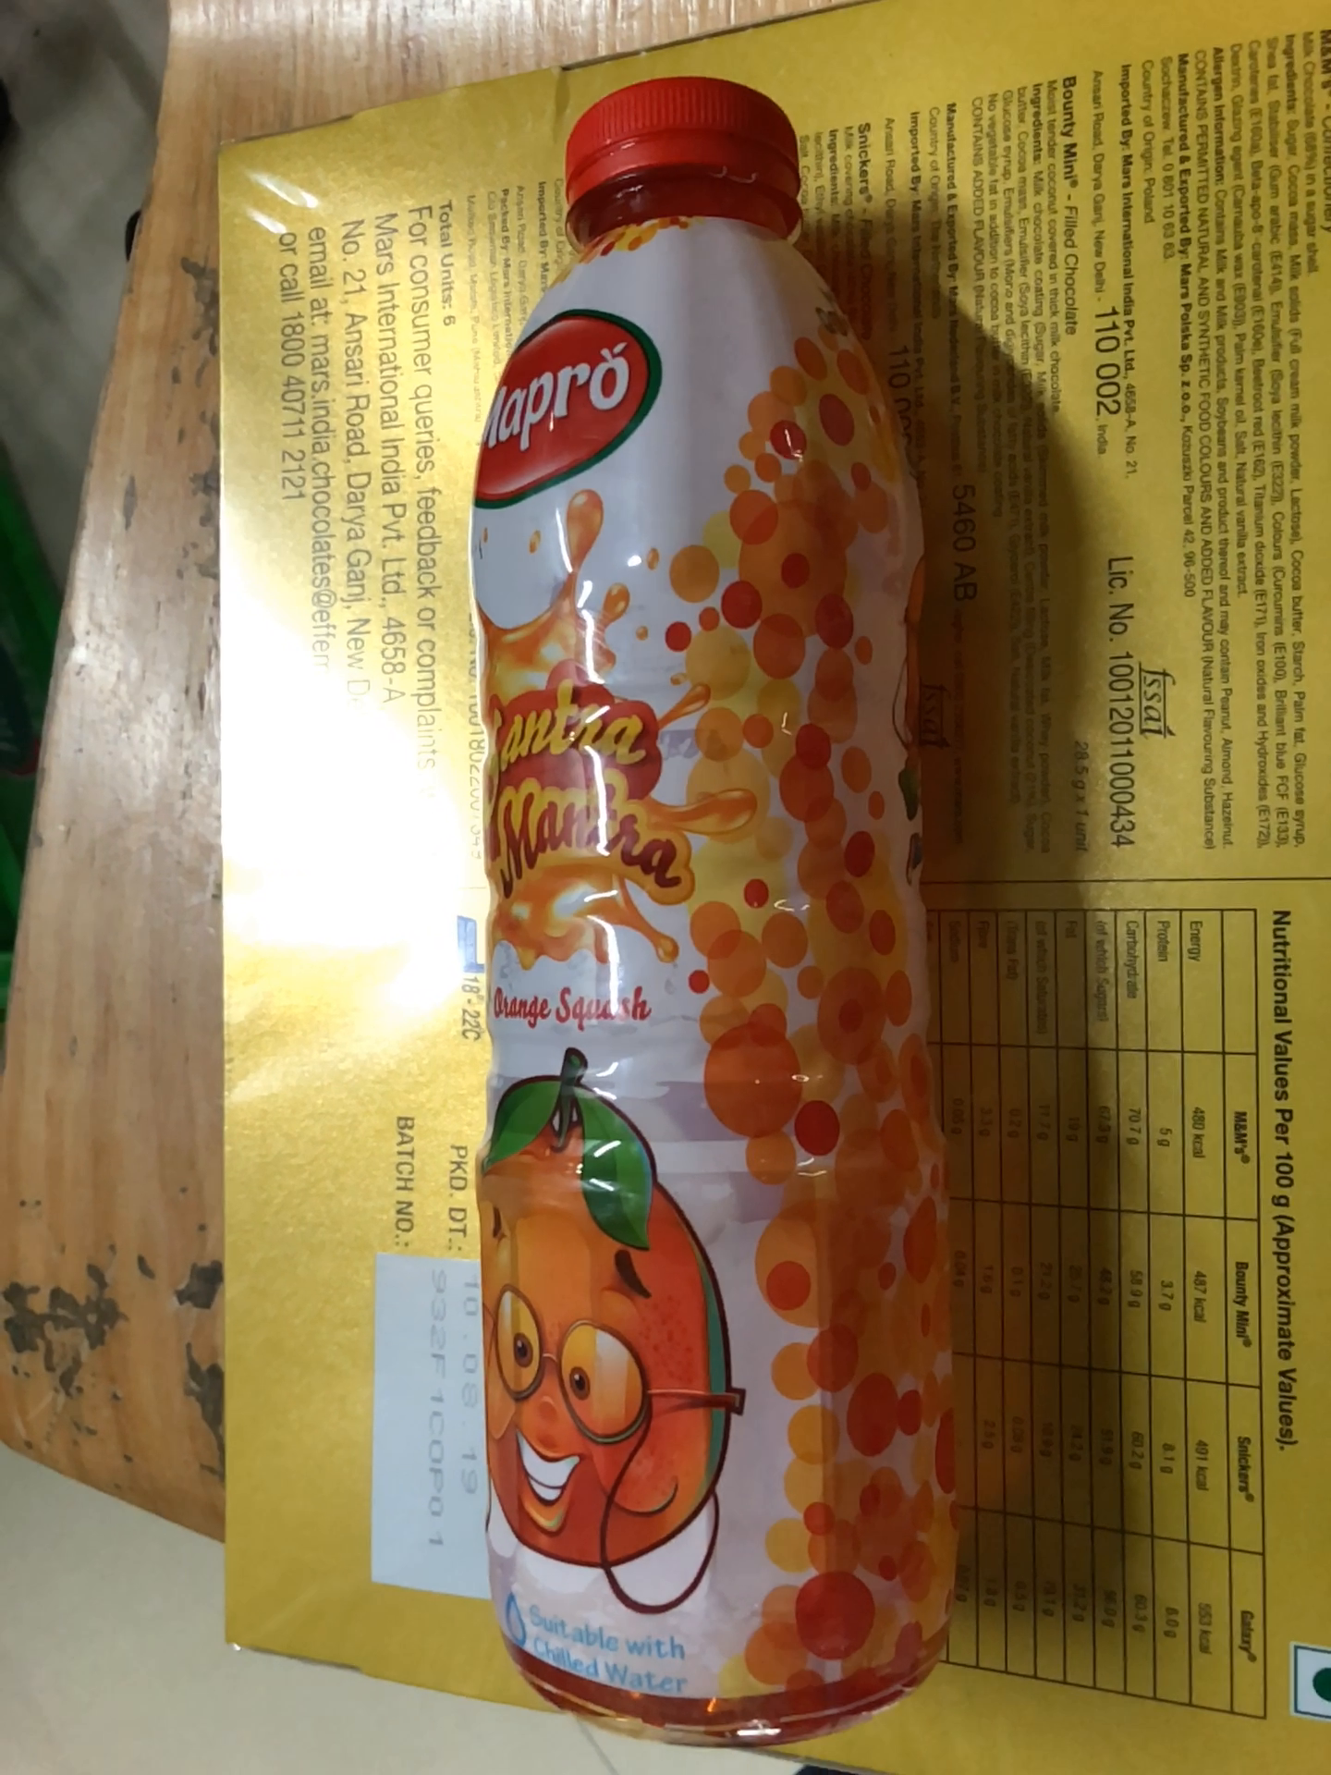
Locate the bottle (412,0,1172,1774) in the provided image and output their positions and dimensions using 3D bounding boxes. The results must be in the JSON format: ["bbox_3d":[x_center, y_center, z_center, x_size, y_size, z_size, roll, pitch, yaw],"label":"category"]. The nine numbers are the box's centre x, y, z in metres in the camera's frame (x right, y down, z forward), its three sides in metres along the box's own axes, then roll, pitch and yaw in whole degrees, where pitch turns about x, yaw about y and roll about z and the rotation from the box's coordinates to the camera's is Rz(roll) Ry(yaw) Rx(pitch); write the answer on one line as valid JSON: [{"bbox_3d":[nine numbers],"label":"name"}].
[{"bbox_3d":[0.019,-0.012,0.270,0.090,0.090,0.300,0,93,61],"label":"bottle"}]
